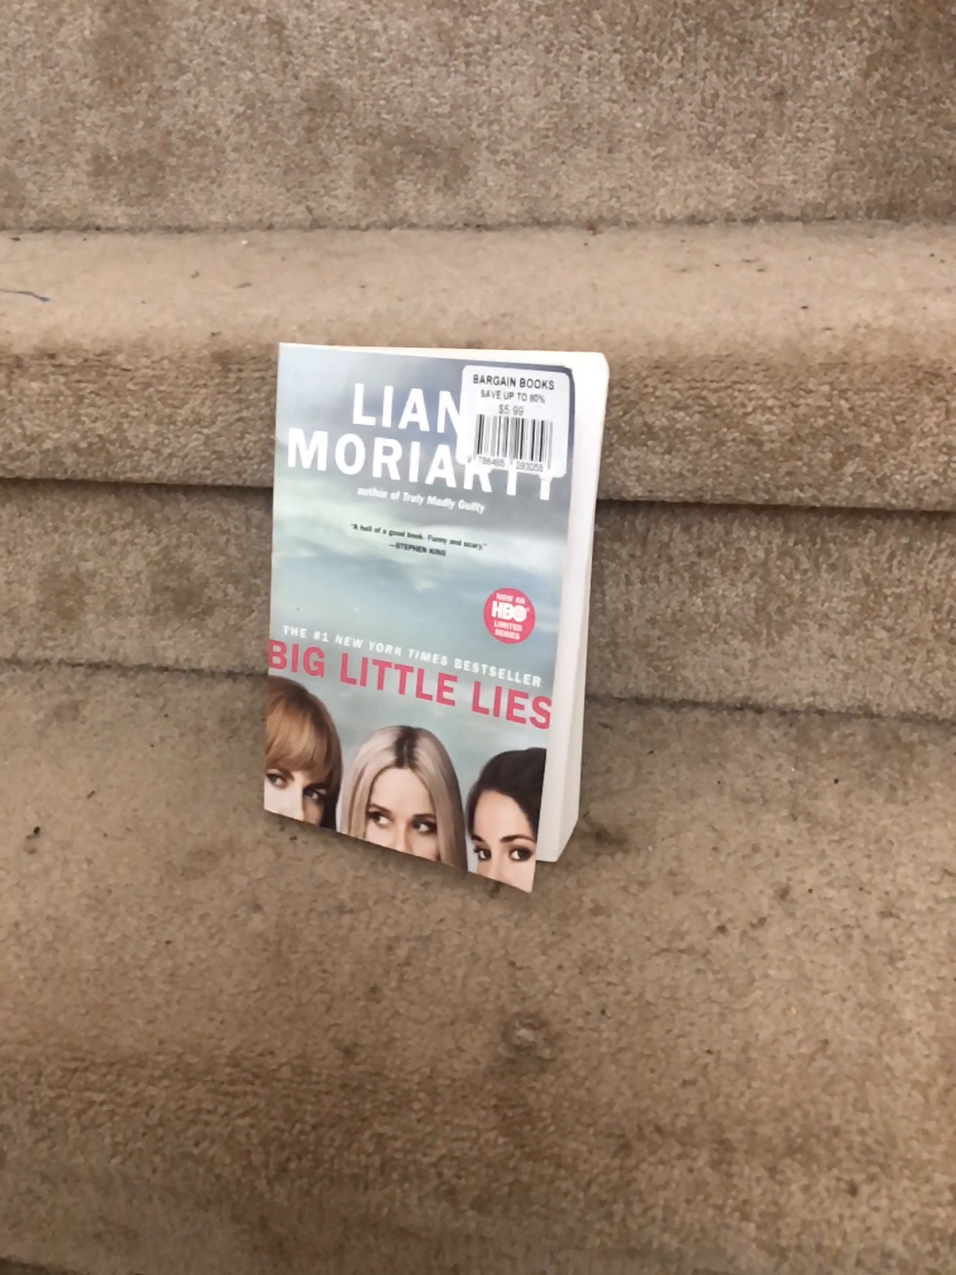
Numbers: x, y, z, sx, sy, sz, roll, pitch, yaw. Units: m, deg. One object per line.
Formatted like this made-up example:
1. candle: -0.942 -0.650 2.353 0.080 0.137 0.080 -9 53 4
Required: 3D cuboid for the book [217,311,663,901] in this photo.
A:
1. book: -0.021 -0.018 0.430 0.160 0.209 0.050 10 14 19
